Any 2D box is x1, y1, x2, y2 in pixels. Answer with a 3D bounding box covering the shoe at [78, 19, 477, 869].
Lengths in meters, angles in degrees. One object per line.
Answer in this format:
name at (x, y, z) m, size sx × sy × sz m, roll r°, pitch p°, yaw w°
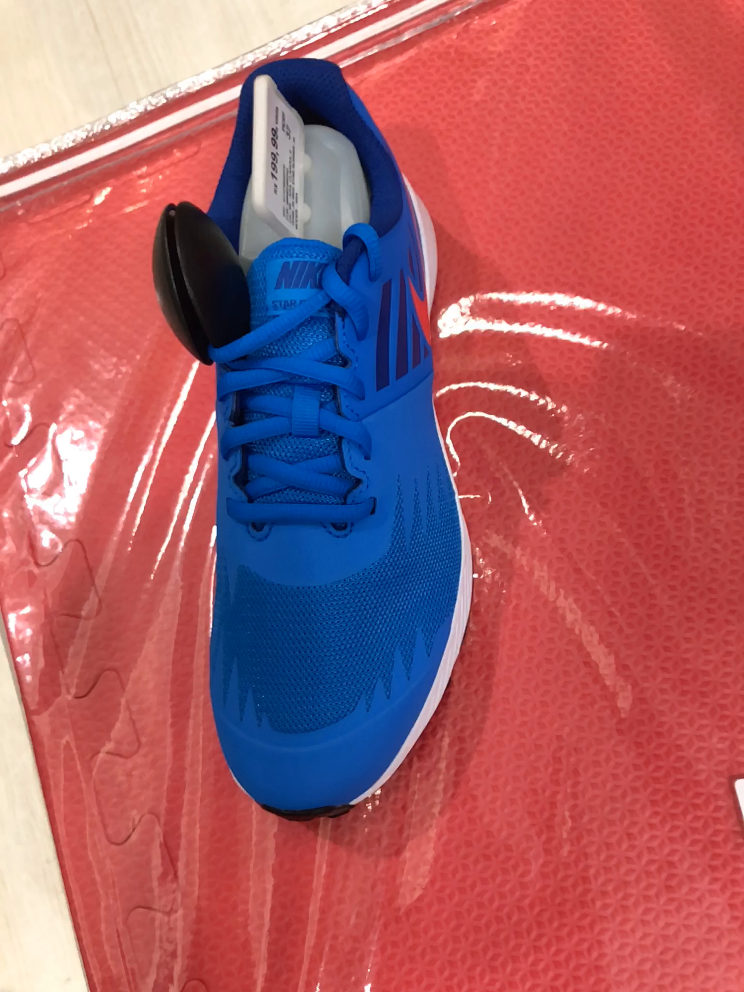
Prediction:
shoe at (-0.016, -0.024, 0.311) m, size 0.100 × 0.100 × 0.280 m, roll 2°, pitch 73°, yaw 8°
